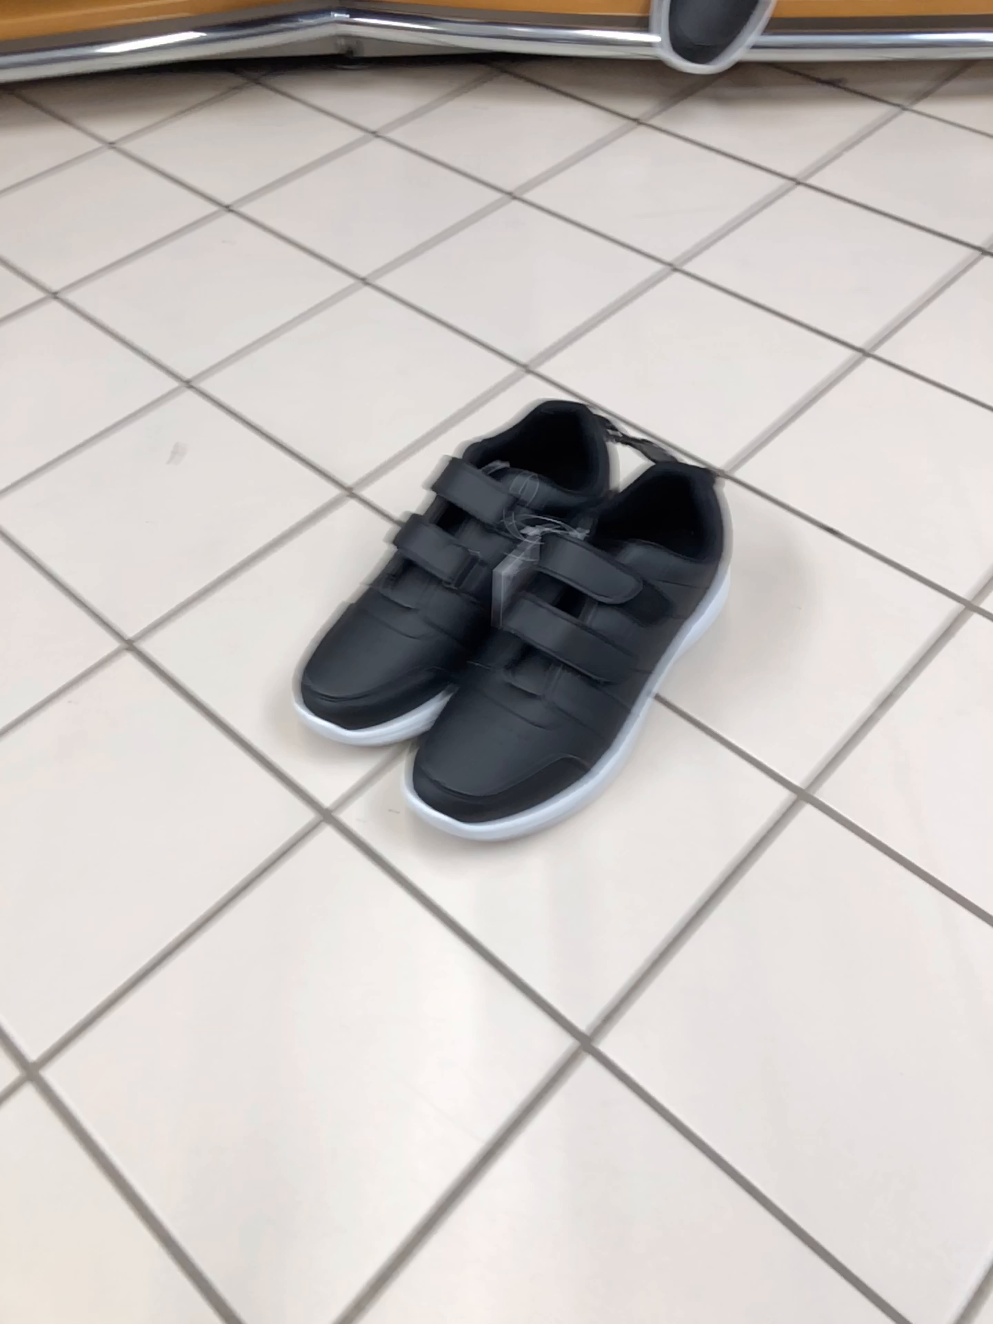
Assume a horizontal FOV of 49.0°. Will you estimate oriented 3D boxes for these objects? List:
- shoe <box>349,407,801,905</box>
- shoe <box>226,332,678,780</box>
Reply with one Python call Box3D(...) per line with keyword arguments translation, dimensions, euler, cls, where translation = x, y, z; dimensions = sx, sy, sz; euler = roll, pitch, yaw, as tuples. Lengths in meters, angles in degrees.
Box3D(translation=(0.058, -0.017, 0.664), dimensions=(0.100, 0.100, 0.311), euler=(30, 58, 24), cls="shoe")
Box3D(translation=(-0.015, -0.081, 0.707), dimensions=(0.100, 0.100, 0.311), euler=(31, 59, 24), cls="shoe")
